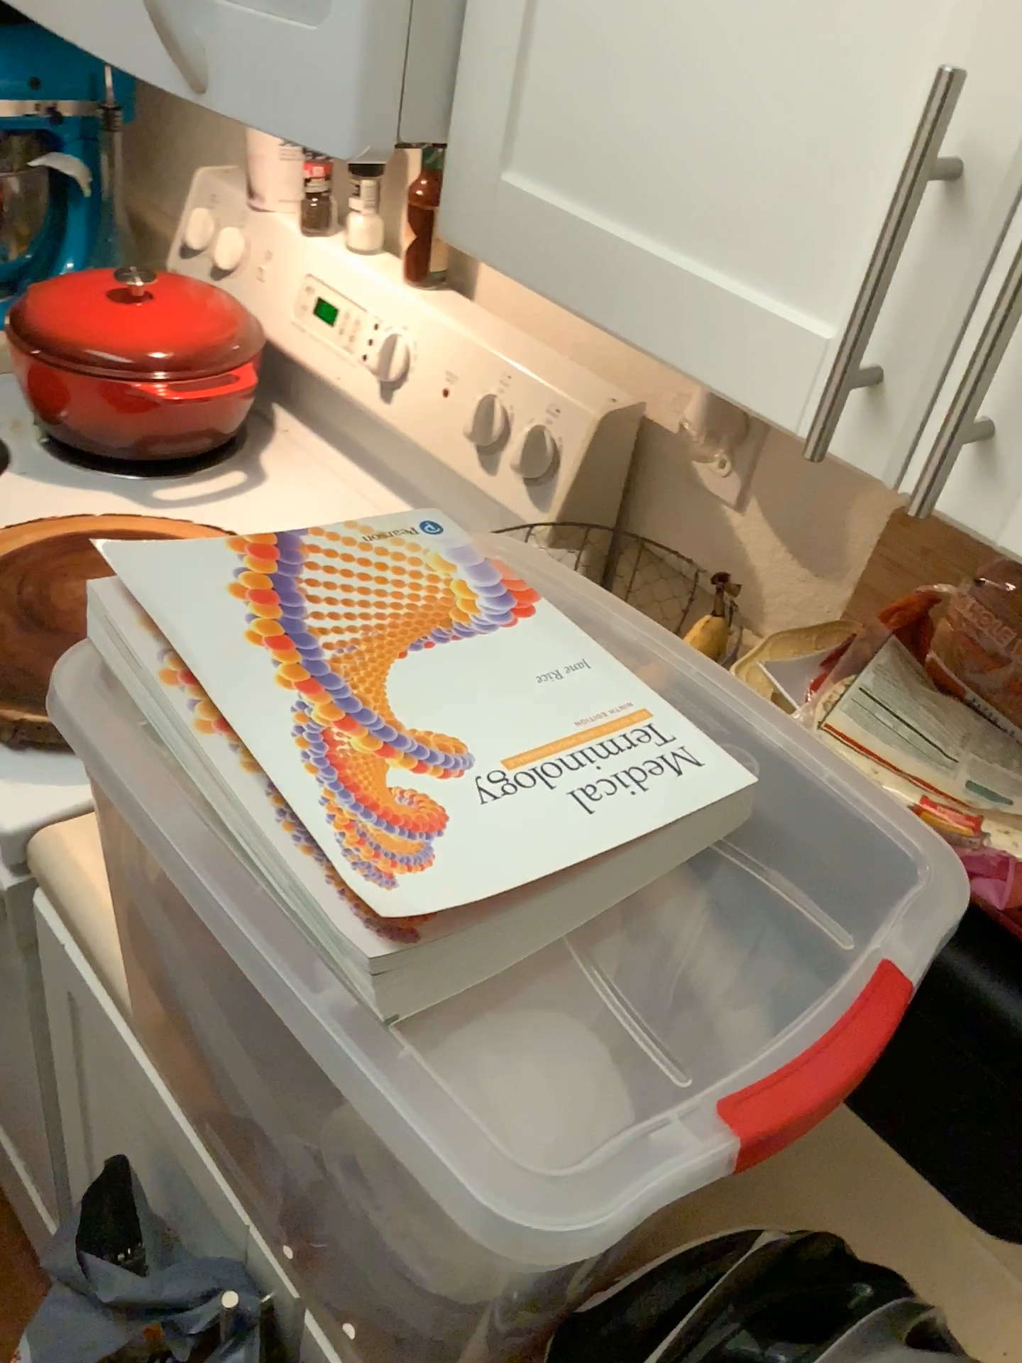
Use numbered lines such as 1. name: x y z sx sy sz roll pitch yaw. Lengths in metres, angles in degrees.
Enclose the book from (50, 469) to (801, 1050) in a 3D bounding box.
1. book: -0.048 0.004 0.554 0.230 0.050 0.290 -21 48 -36
